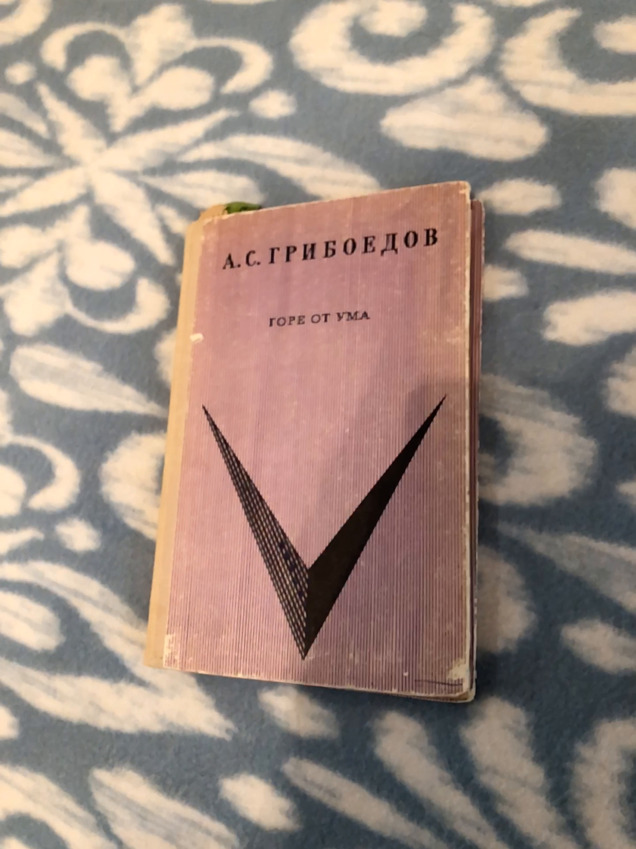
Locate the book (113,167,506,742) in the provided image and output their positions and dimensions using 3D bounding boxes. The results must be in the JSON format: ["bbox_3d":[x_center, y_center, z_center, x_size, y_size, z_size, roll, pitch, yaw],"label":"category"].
[{"bbox_3d":[-0.003,0.006,0.302,0.158,0.020,0.217,-1,77,21],"label":"book"}]
